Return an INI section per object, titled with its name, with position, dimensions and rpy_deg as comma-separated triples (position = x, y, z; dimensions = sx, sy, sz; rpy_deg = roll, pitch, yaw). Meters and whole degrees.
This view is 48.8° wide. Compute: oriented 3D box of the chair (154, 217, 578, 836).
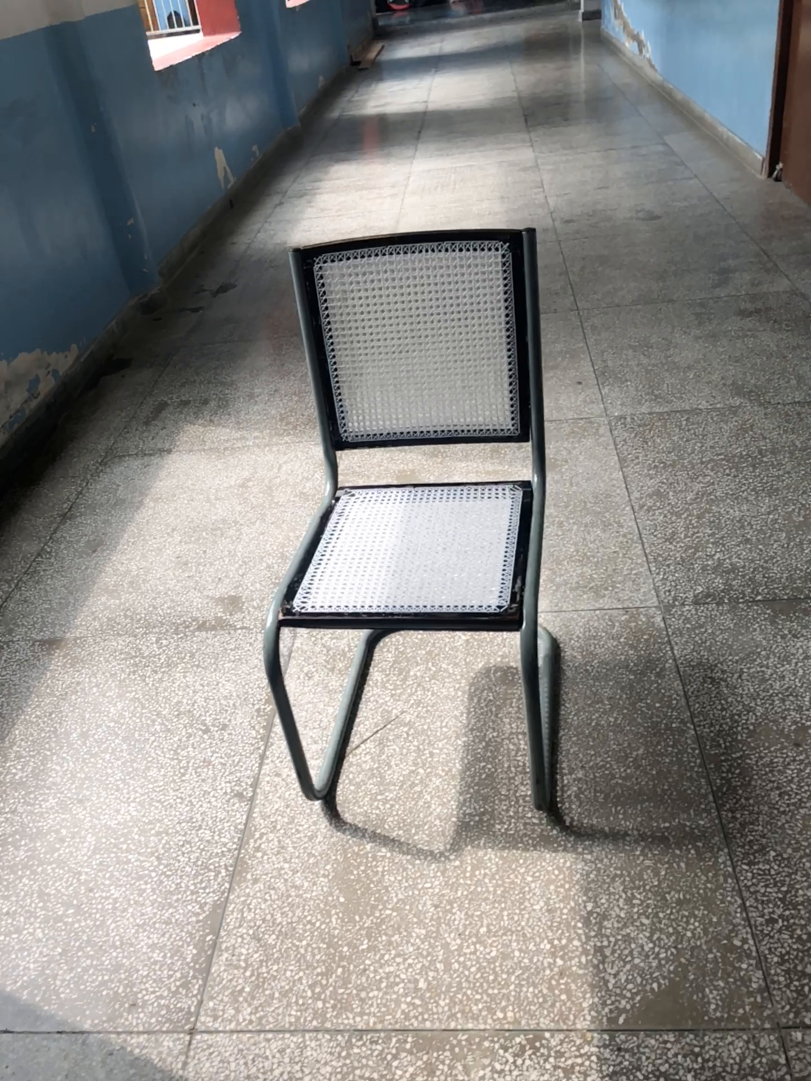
[chair]
position = 0.027, -0.020, 1.485
dimensions = 0.490, 0.817, 0.572
rpy_deg = -1, 34, 11
